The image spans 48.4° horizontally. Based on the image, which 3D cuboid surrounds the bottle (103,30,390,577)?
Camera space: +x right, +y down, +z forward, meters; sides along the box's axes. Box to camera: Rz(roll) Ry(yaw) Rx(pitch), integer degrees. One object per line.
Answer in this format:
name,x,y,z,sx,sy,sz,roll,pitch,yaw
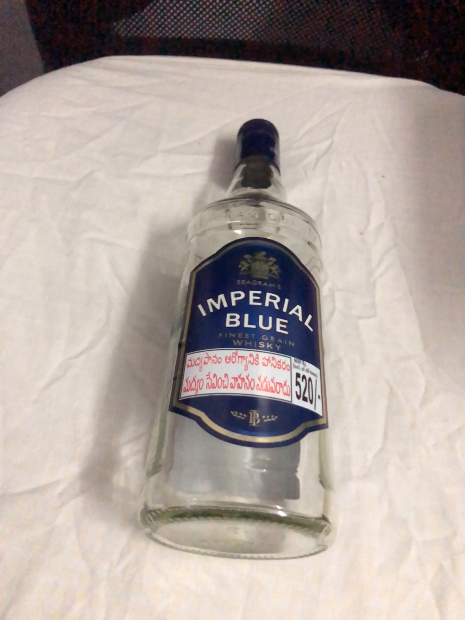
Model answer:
bottle,0.012,-0.021,0.265,0.090,0.080,0.271,6,59,-1
